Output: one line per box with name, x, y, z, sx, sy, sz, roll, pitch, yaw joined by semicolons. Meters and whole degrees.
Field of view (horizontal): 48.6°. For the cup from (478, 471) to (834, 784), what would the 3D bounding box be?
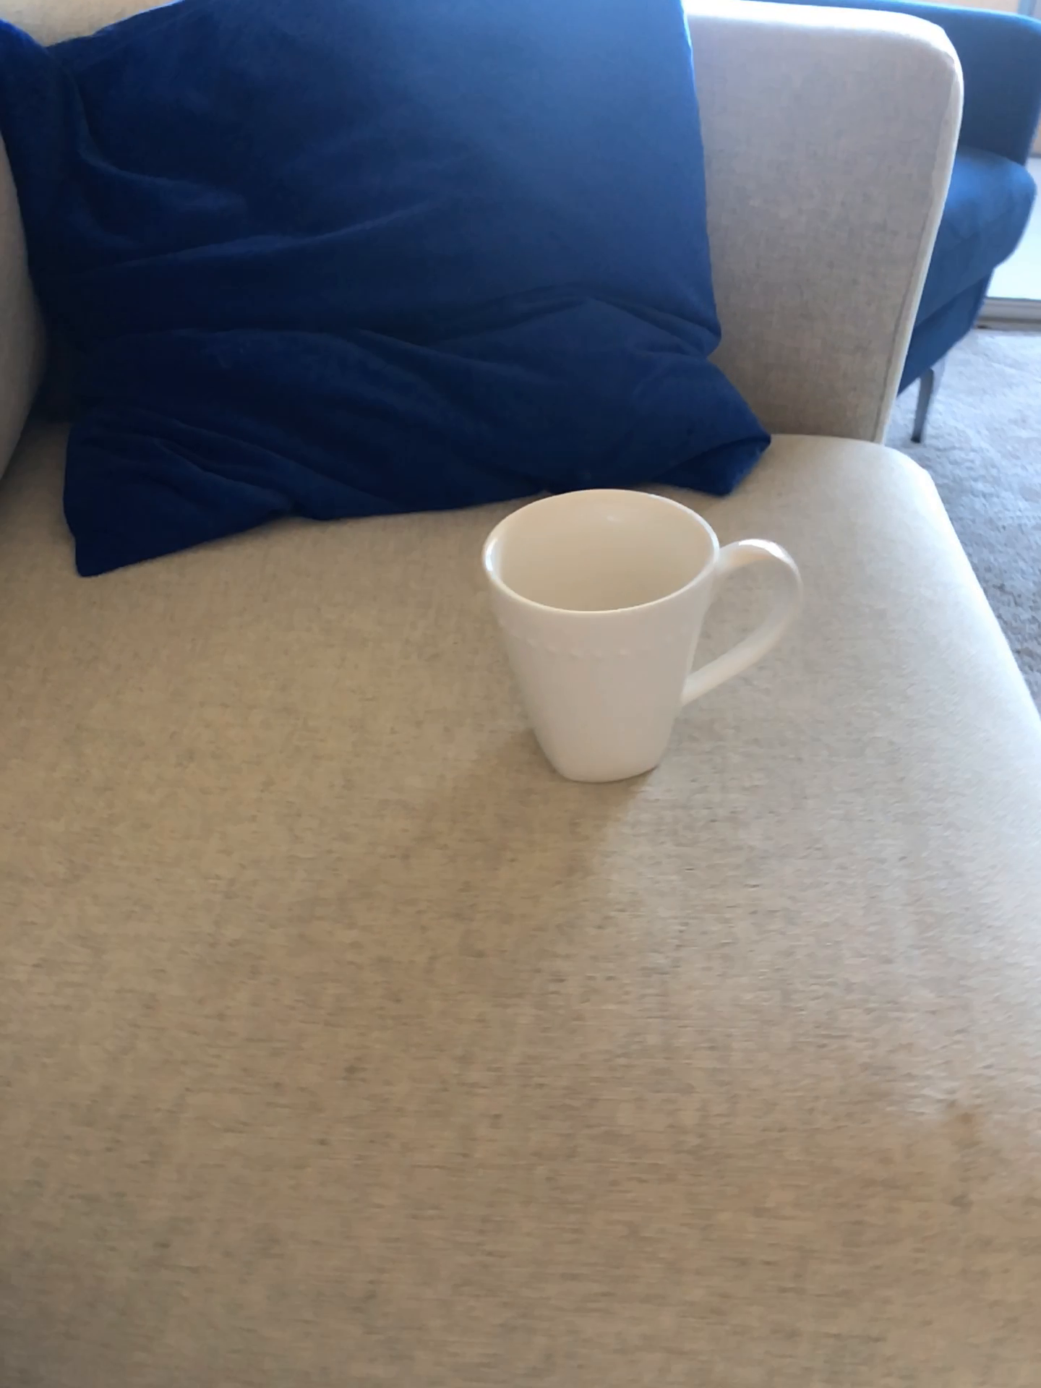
cup;0.048;-0.030;0.490;0.130;0.090;0.101;1;37;-2
